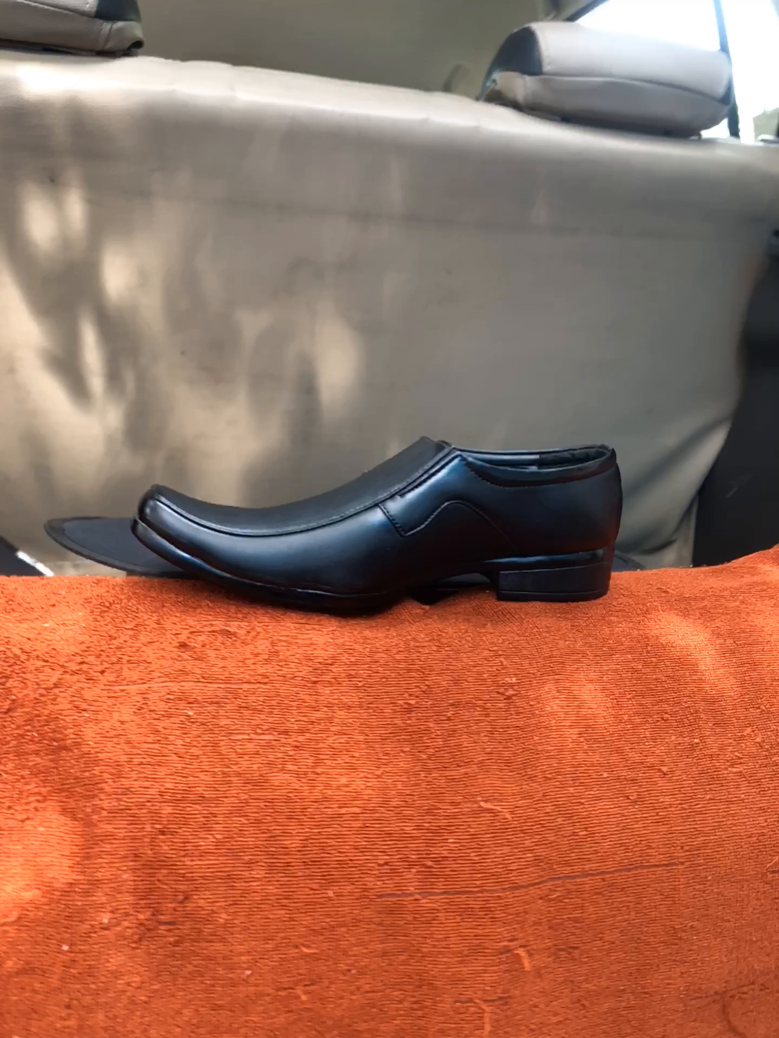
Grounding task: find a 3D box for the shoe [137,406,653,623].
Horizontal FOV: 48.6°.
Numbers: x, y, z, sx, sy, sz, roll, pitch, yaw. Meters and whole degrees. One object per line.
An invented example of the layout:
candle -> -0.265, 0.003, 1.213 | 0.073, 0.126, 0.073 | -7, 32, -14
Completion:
shoe -> -0.001, -0.010, 0.572 | 0.290, 0.100, 0.160 | 3, 11, -4
